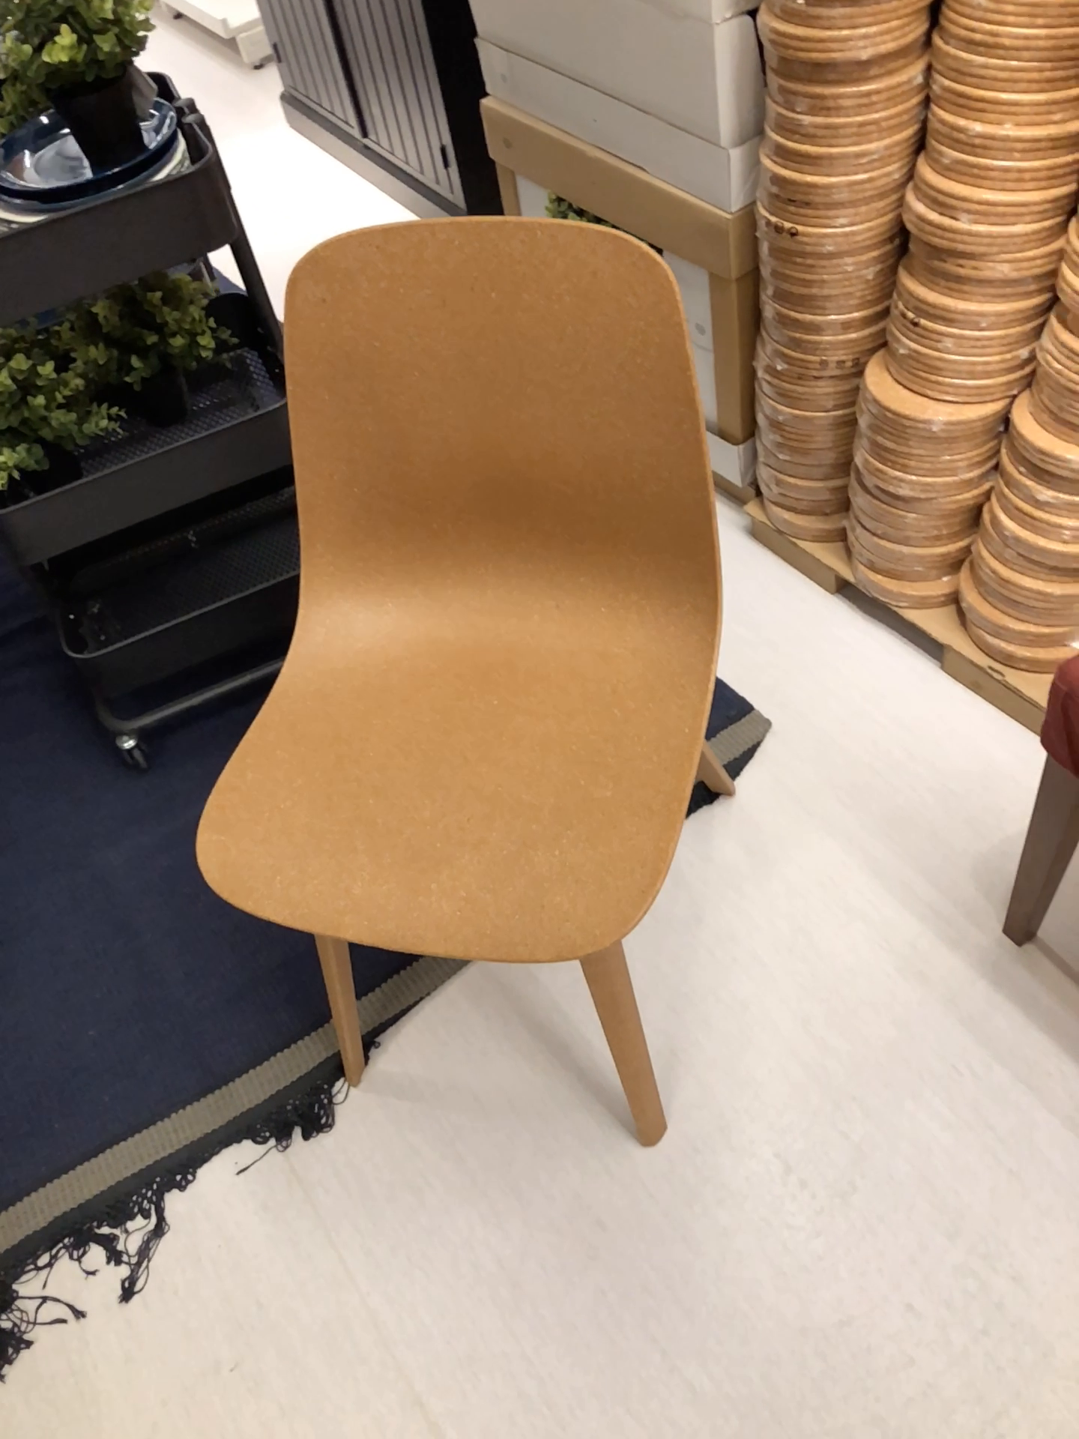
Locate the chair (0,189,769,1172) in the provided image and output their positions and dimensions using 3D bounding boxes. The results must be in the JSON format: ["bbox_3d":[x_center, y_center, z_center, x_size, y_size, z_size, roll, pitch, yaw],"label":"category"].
[{"bbox_3d":[-0.041,-0.005,1.146,0.441,0.746,0.553,6,53,16],"label":"chair"}]
